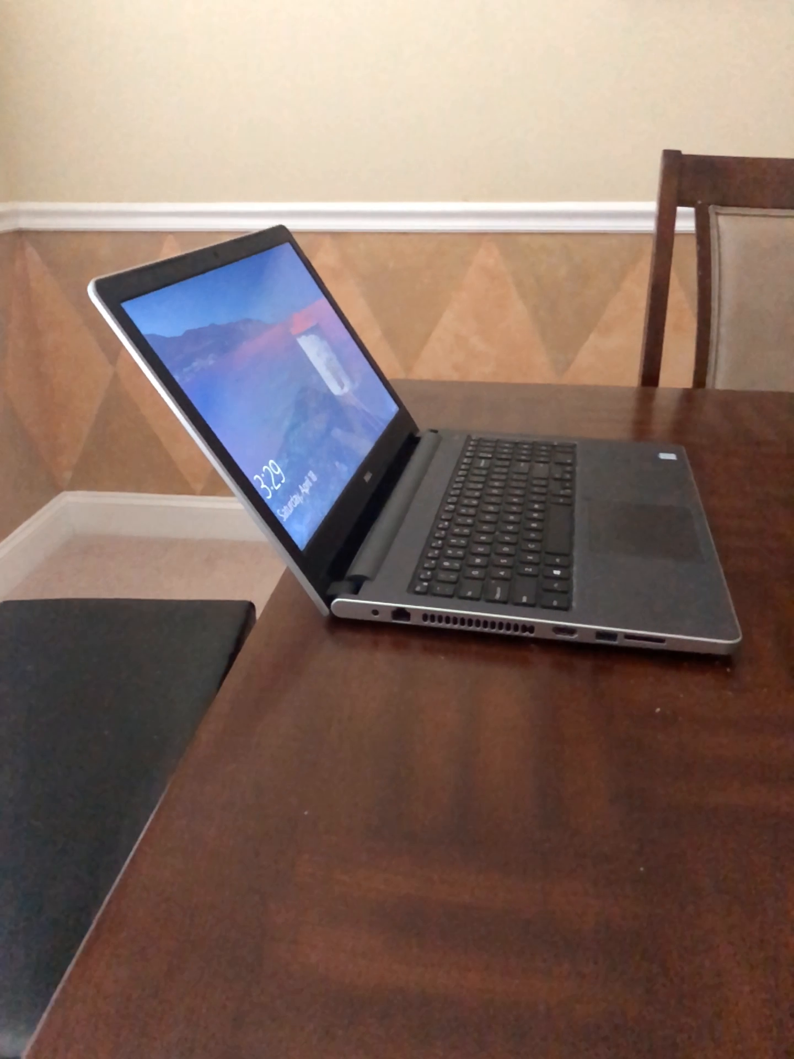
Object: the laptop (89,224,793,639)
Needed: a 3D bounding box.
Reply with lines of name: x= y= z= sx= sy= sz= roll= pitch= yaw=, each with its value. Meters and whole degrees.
laptop: x=0.048 y=-0.114 z=0.682 sx=0.391 sy=0.199 sz=0.368 roll=5 pitch=24 yaw=9
